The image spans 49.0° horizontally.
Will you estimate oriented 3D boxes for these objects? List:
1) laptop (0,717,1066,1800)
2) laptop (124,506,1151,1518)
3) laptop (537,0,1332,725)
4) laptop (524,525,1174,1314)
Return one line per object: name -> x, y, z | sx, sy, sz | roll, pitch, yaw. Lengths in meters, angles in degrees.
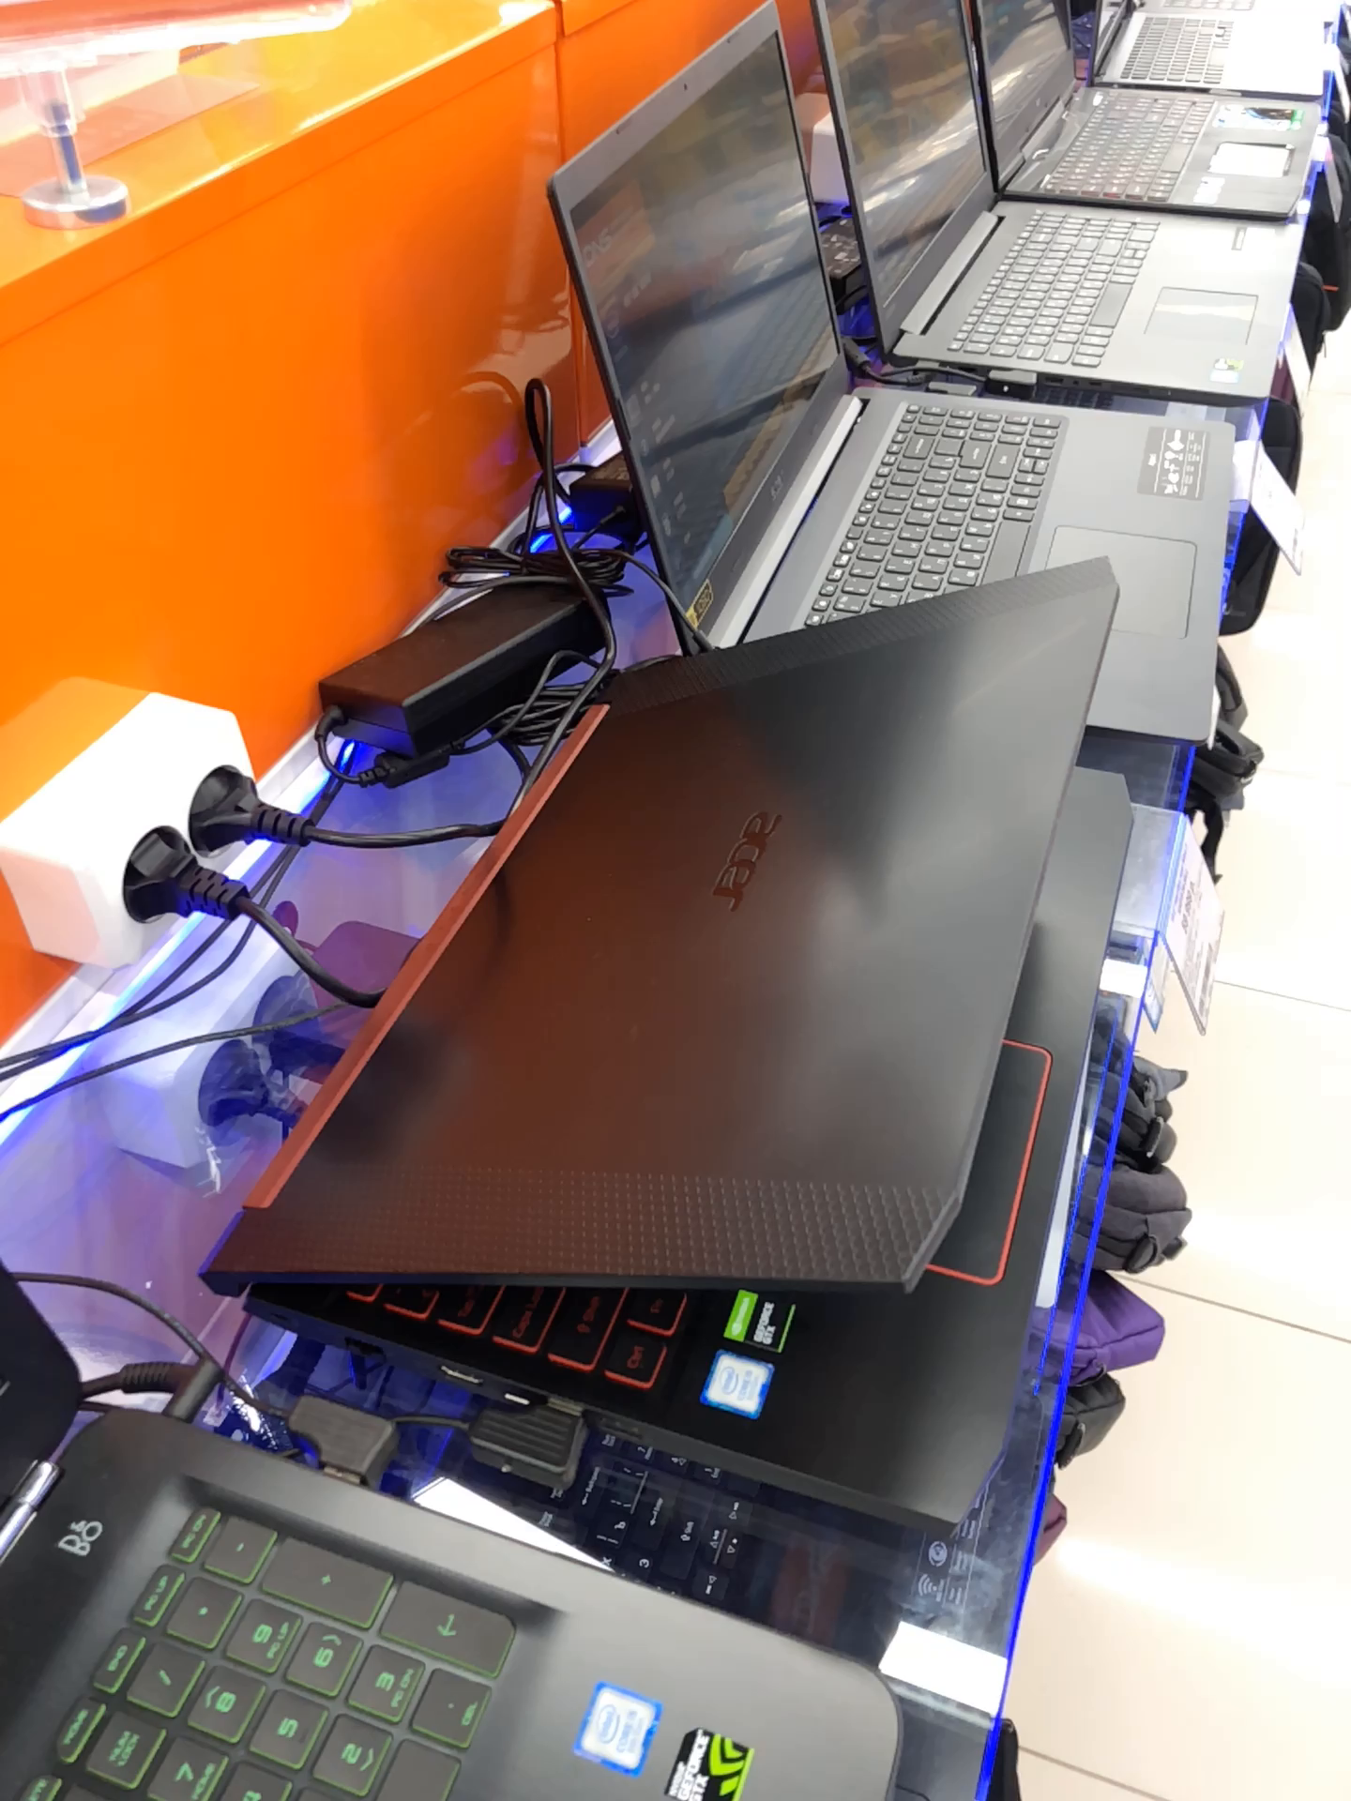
laptop -> -0.164, 0.211, 0.197 | 0.310, 0.250, 0.416 | 12, 43, 16
laptop -> 0.021, -0.003, 0.544 | 0.248, 0.103, 0.359 | 12, 42, 15
laptop -> 0.150, -0.306, 0.787 | 0.312, 0.226, 0.344 | 11, 43, 14
laptop -> 0.124, -0.018, 0.927 | 0.296, 0.220, 0.406 | 11, 44, 15
